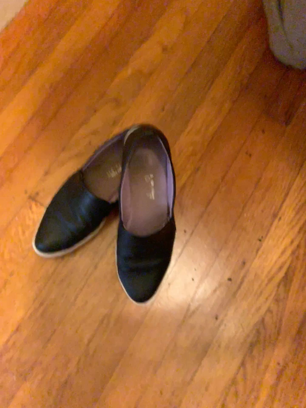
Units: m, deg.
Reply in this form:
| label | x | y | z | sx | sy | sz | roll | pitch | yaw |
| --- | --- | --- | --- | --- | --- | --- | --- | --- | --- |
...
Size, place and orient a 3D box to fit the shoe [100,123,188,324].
| label | x | y | z | sx | sy | sz | roll | pitch | yaw |
| --- | --- | --- | --- | --- | --- | --- | --- | --- | --- |
| shoe | -0.010 | 0.024 | 0.430 | 0.100 | 0.080 | 0.250 | -2 | 98 | -1 |

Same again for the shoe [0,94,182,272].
| label | x | y | z | sx | sy | sz | roll | pitch | yaw |
| --- | --- | --- | --- | --- | --- | --- | --- | --- | --- |
| shoe | -0.083 | -0.031 | 0.482 | 0.100 | 0.080 | 0.260 | 42 | 79 | 9 |
